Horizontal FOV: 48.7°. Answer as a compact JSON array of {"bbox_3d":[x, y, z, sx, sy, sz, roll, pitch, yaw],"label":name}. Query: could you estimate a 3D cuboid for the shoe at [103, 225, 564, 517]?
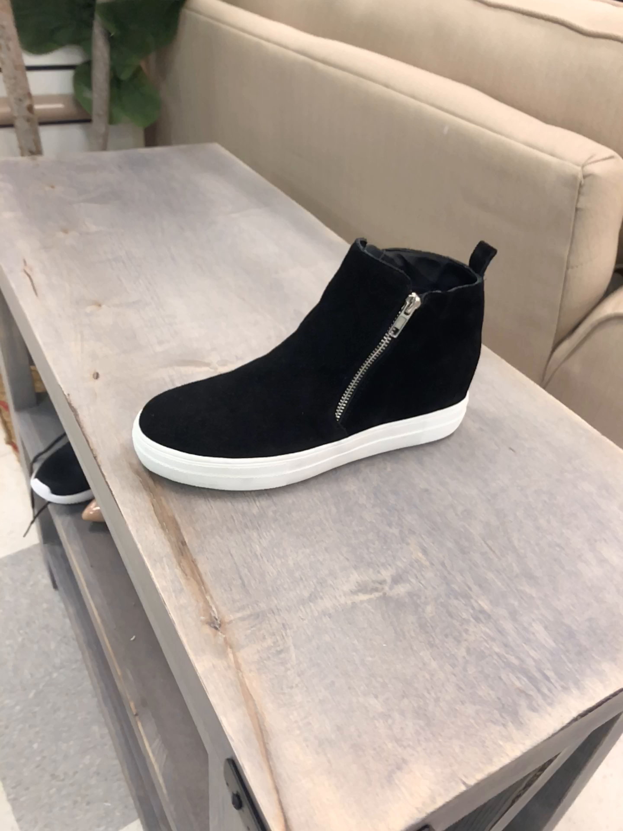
[{"bbox_3d":[0.011,-0.042,0.503,0.291,0.146,0.107,-8,39,-19],"label":"shoe"}]
